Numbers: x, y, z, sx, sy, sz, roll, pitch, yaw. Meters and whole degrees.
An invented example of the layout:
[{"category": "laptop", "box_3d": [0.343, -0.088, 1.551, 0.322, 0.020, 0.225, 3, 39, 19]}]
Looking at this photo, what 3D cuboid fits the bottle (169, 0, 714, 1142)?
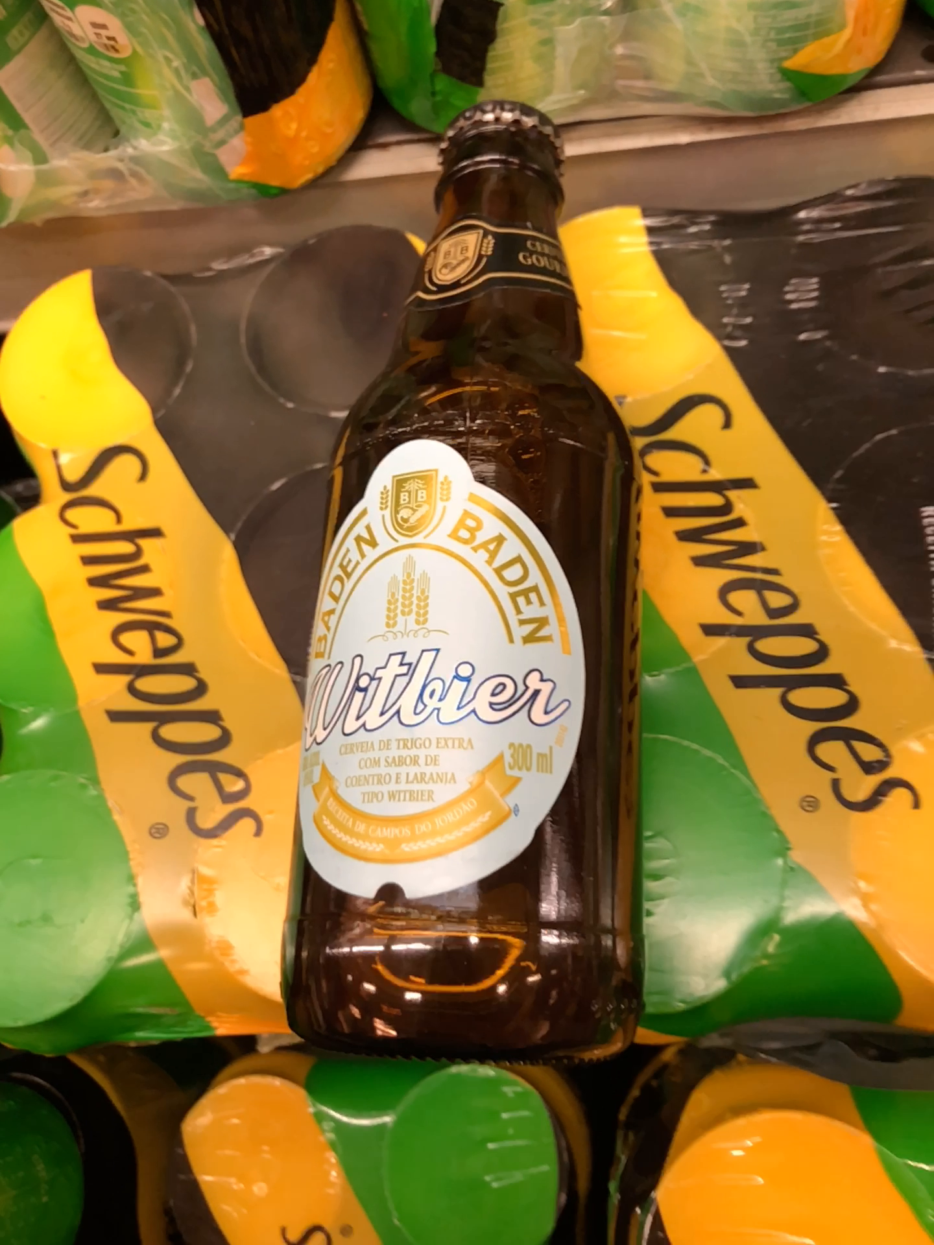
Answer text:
[{"category": "bottle", "box_3d": [0.005, -0.027, 0.186, 0.070, 0.060, 0.200, 0, 75, 10]}]
